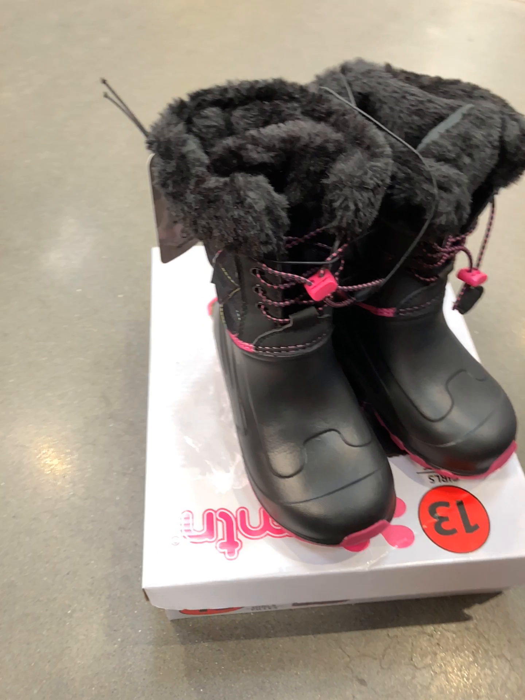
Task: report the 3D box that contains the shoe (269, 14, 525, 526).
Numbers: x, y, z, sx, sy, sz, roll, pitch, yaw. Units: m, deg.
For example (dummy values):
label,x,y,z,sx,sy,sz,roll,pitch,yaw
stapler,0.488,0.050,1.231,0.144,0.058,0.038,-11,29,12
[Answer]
label,x,y,z,sx,sy,sz,roll,pitch,yaw
shoe,0.119,-0.046,0.387,0.110,0.229,0.221,-26,58,-22

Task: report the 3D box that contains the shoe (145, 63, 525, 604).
label,x,y,z,sx,sy,sz,roll,pitch,yaw
shoe,0.028,-0.007,0.348,0.110,0.209,0.221,-18,56,-17
